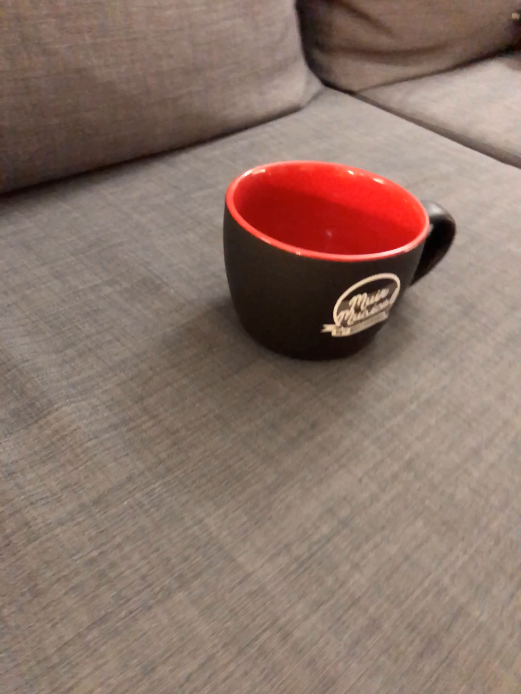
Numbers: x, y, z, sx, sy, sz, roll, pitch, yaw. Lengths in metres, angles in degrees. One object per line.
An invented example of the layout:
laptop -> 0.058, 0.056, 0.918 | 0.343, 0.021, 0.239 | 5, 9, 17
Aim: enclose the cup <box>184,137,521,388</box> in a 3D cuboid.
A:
cup -> 0.048, -0.062, 0.366 | 0.160, 0.080, 0.120 | -13, 44, -20
